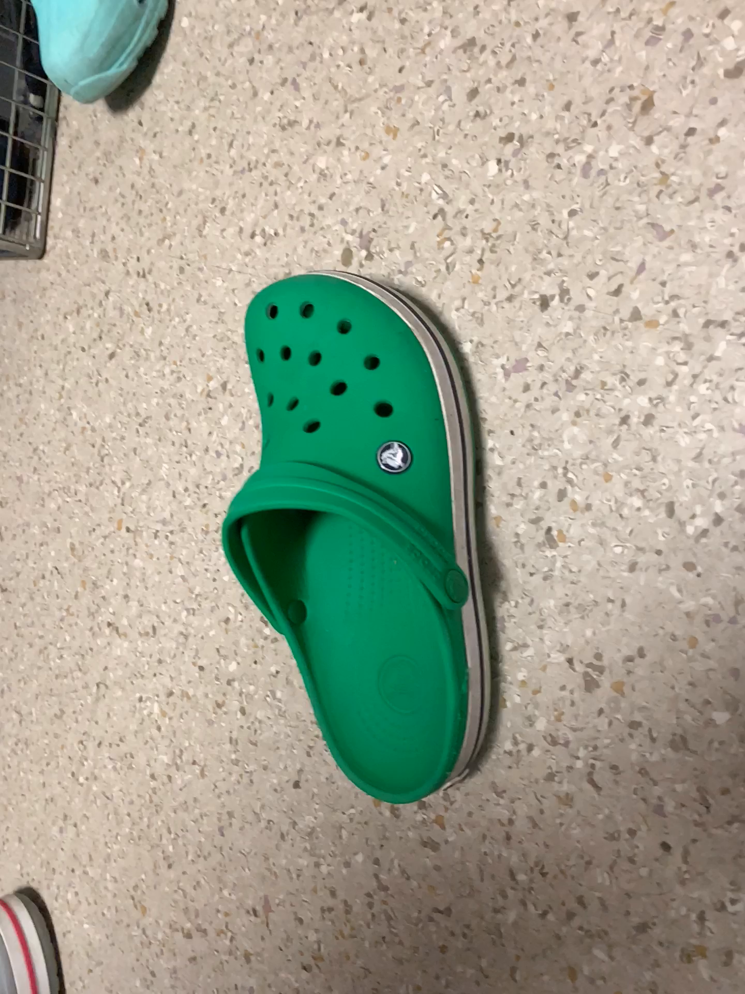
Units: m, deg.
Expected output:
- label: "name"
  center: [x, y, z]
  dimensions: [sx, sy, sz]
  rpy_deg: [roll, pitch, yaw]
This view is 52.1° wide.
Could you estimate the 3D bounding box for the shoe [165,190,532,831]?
- label: "shoe"
  center: [-0.015, 0.009, 0.340]
  dimensions: [0.108, 0.082, 0.234]
  rpy_deg: [-14, 80, 39]
